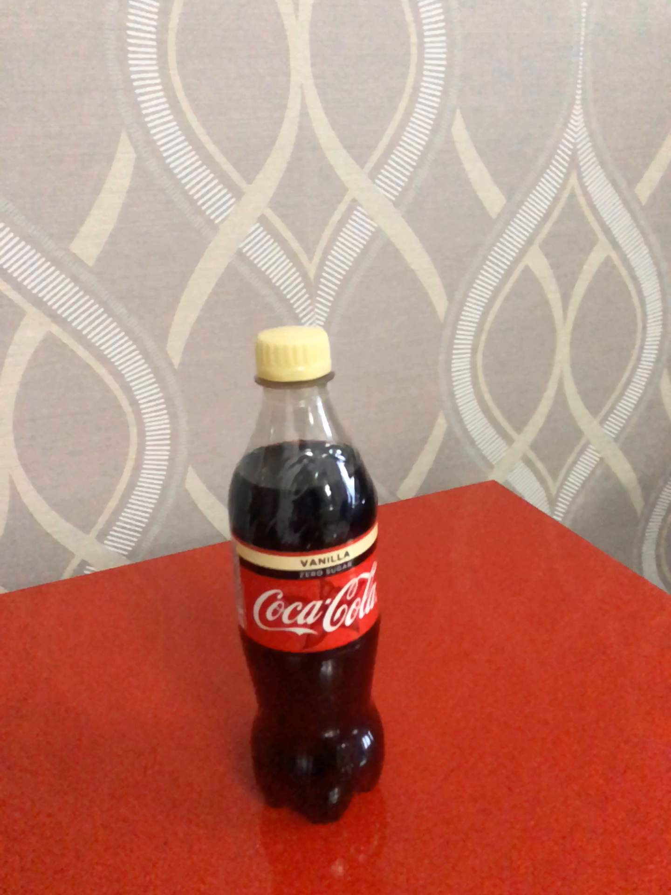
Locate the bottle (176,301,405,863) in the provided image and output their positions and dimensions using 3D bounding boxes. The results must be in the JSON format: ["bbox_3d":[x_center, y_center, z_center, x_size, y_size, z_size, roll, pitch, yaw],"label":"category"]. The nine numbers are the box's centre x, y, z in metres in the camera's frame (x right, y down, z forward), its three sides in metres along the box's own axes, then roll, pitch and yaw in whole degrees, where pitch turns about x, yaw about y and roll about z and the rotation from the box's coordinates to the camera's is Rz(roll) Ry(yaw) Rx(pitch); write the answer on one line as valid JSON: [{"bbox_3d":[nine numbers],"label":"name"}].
[{"bbox_3d":[-0.018,0.062,0.345,0.070,0.239,0.080,-10,22,-18],"label":"bottle"}]
